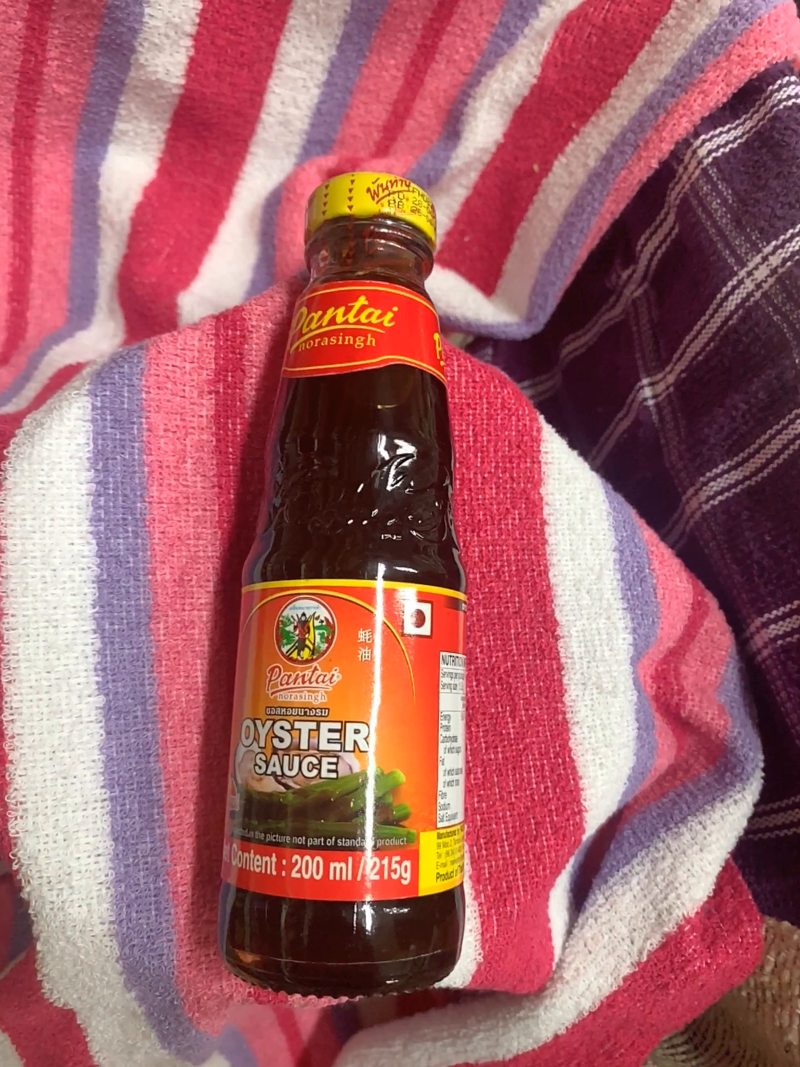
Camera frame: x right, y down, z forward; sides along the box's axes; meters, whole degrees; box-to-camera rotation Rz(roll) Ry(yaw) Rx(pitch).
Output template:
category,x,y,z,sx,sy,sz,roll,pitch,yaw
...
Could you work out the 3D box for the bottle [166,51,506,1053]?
category,x,y,z,sx,sy,sz,roll,pitch,yaw
bottle,-0.007,-0.003,0.187,0.050,0.050,0.190,-2,77,18
